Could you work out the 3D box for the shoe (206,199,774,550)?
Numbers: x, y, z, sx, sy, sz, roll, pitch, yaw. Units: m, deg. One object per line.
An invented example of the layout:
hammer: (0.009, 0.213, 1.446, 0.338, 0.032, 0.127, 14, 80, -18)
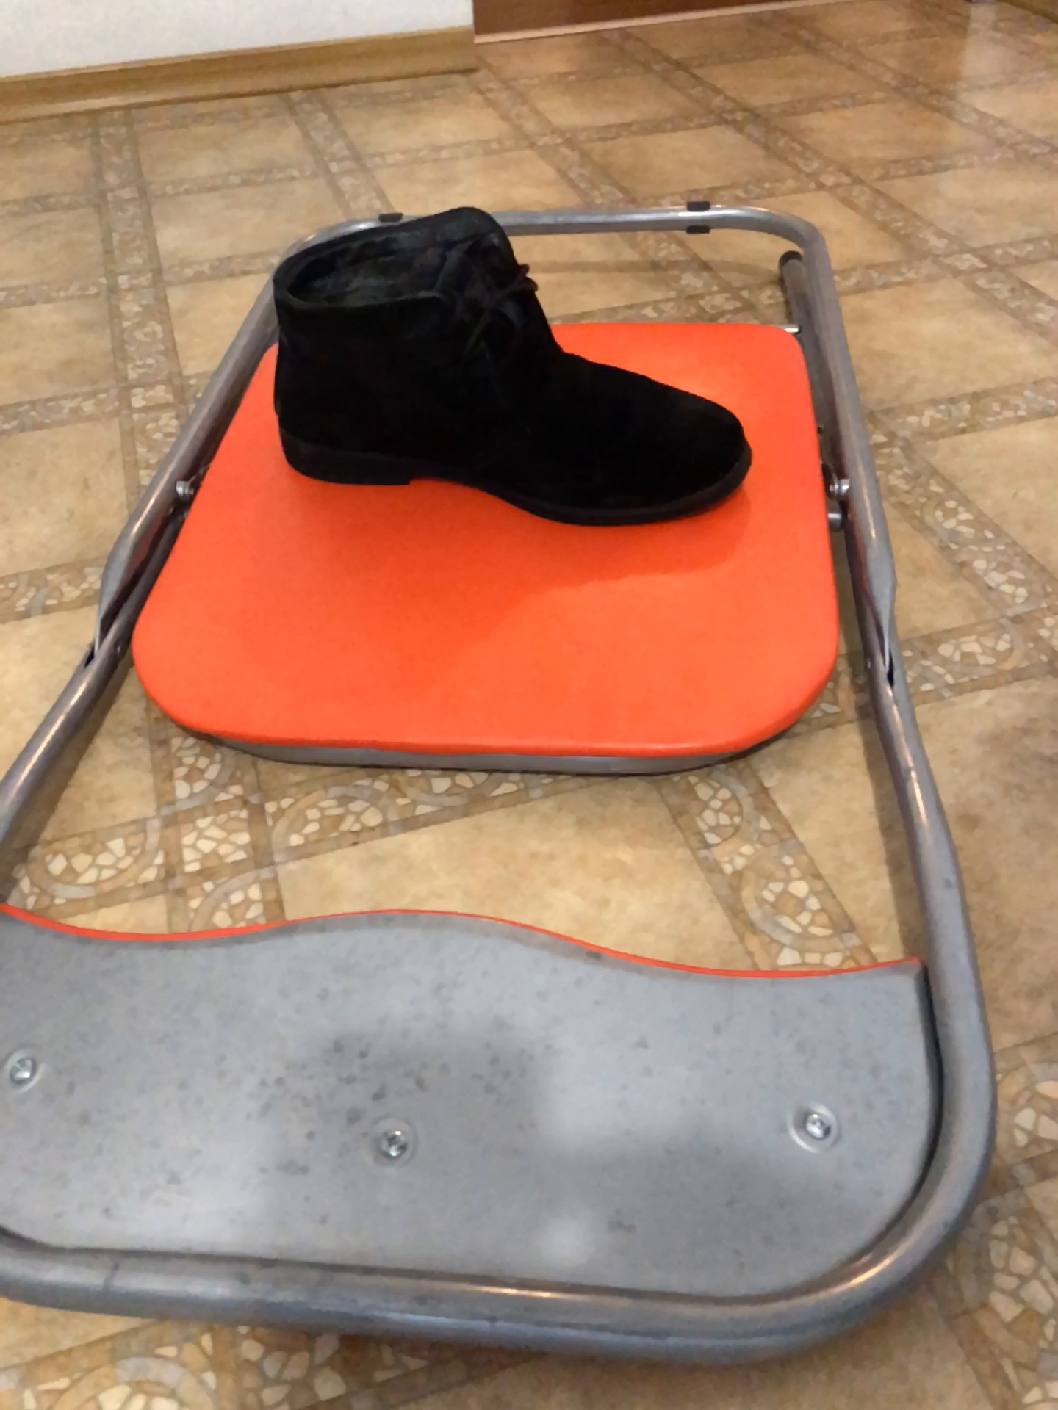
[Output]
shoe: (-0.014, -0.183, 0.632, 0.270, 0.129, 0.111, 7, 43, 10)
